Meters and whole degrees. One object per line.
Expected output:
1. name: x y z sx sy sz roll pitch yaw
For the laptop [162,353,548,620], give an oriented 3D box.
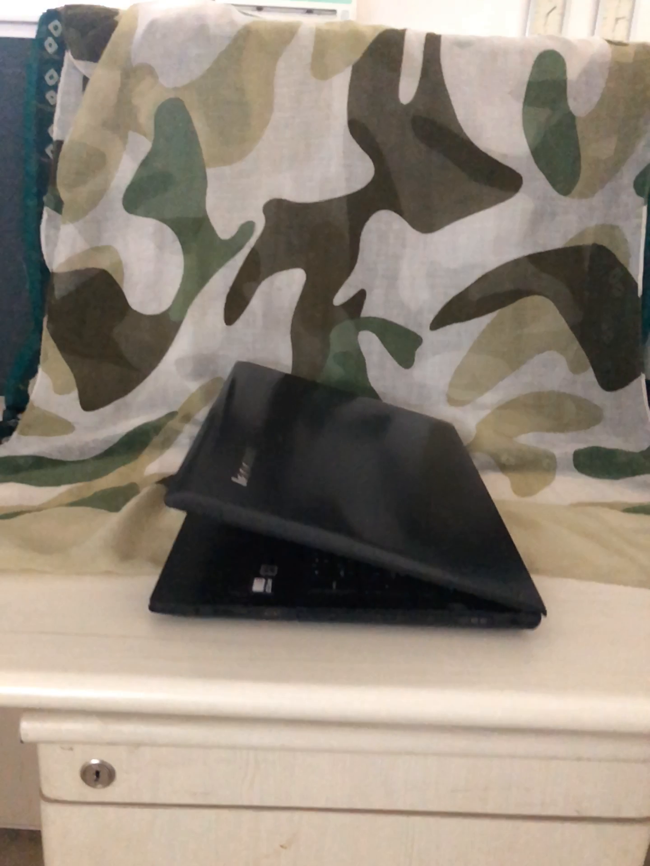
1. laptop: 0.022 0.017 0.648 0.249 0.059 0.387 7 19 -1
